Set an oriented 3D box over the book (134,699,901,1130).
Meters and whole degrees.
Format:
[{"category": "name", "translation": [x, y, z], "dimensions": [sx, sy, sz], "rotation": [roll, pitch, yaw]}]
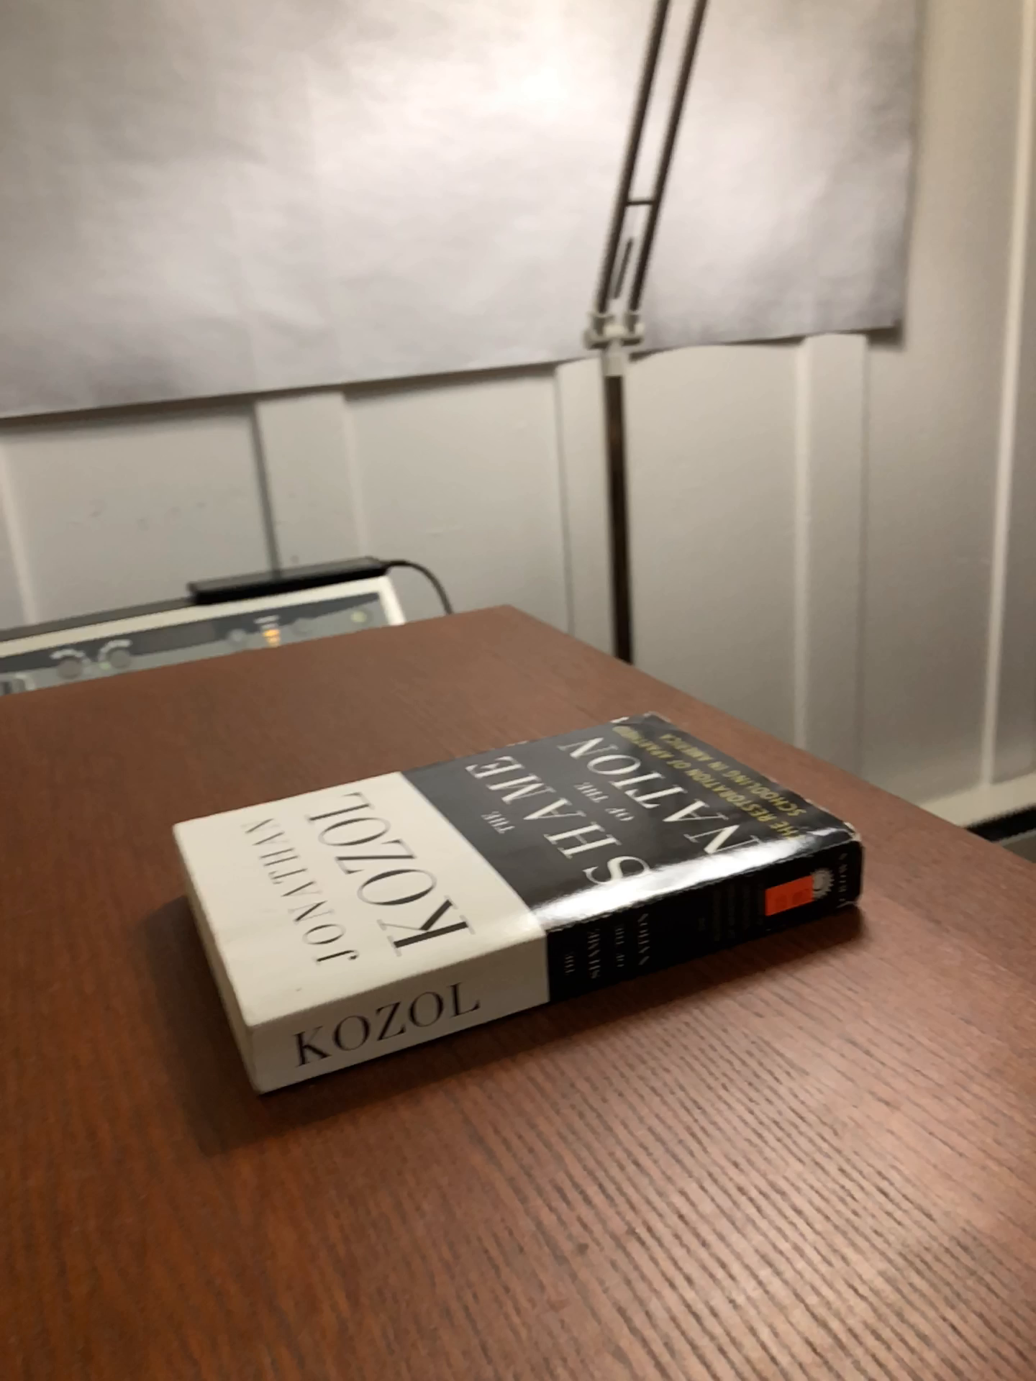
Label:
[{"category": "book", "translation": [-0.009, 0.061, 0.416], "dimensions": [0.230, 0.030, 0.161], "rotation": [-12, 20, -21]}]
